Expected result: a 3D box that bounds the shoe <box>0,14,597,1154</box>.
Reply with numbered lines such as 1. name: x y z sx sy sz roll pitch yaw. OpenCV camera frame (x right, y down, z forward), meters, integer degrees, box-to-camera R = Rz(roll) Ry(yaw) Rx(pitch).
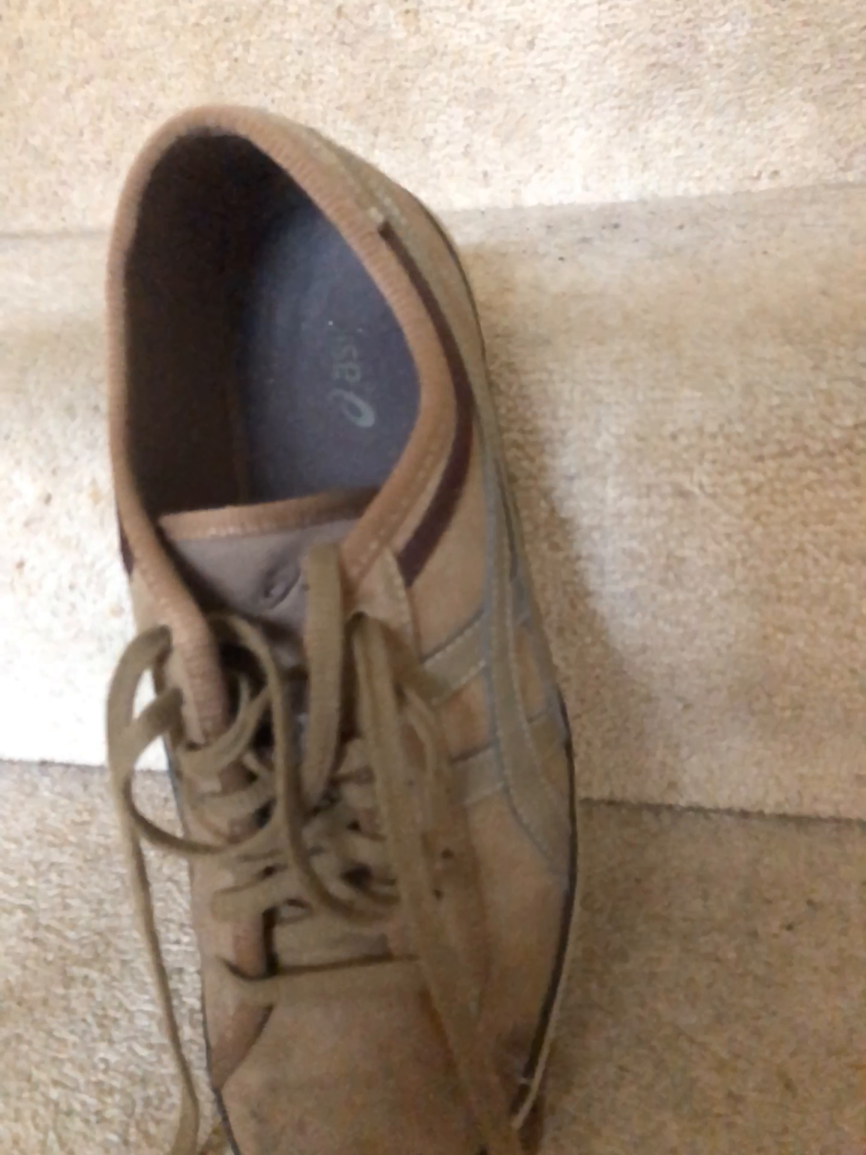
1. shoe: -0.026 0.038 0.250 0.110 0.301 0.120 -4 -11 17
